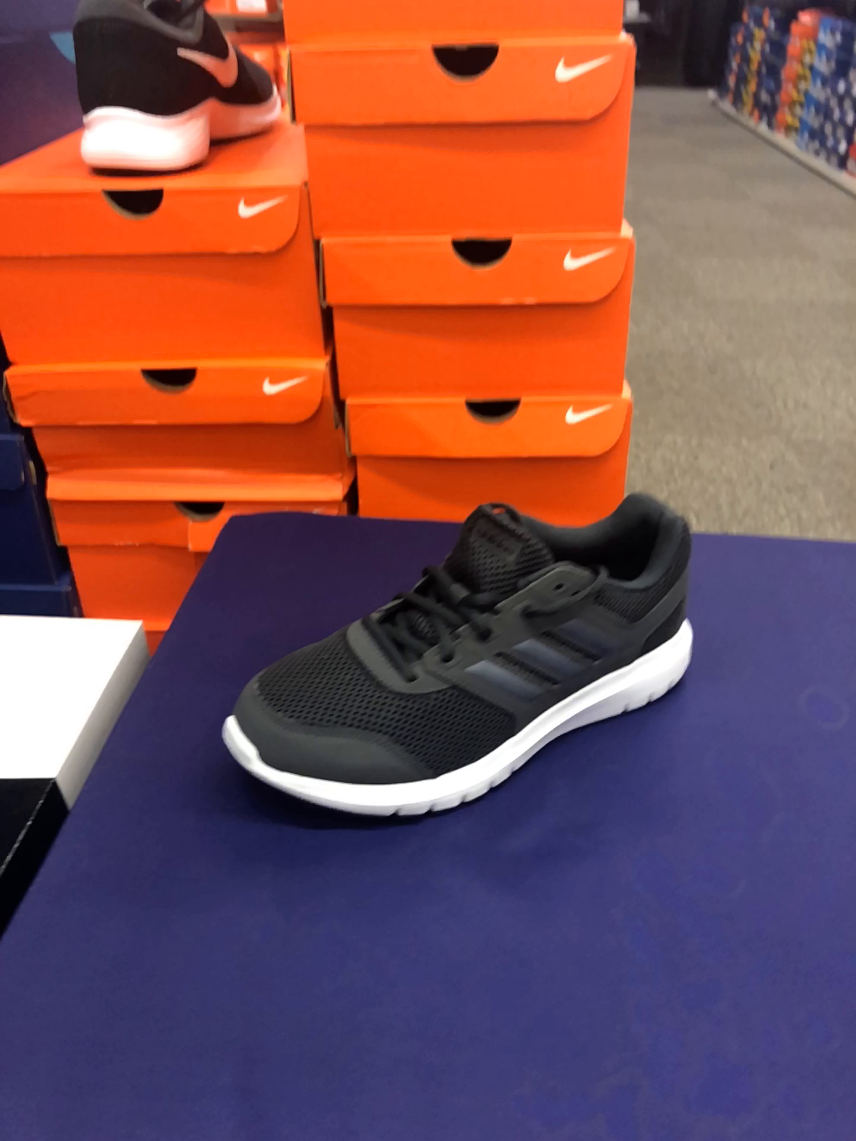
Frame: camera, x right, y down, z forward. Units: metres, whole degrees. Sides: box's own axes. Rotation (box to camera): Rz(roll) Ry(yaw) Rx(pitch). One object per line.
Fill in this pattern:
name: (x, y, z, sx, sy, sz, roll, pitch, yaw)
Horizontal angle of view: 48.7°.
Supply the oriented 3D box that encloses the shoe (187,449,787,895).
shoe: (0.036, 0.035, 0.482, 0.281, 0.106, 0.101, -17, 36, -27)
